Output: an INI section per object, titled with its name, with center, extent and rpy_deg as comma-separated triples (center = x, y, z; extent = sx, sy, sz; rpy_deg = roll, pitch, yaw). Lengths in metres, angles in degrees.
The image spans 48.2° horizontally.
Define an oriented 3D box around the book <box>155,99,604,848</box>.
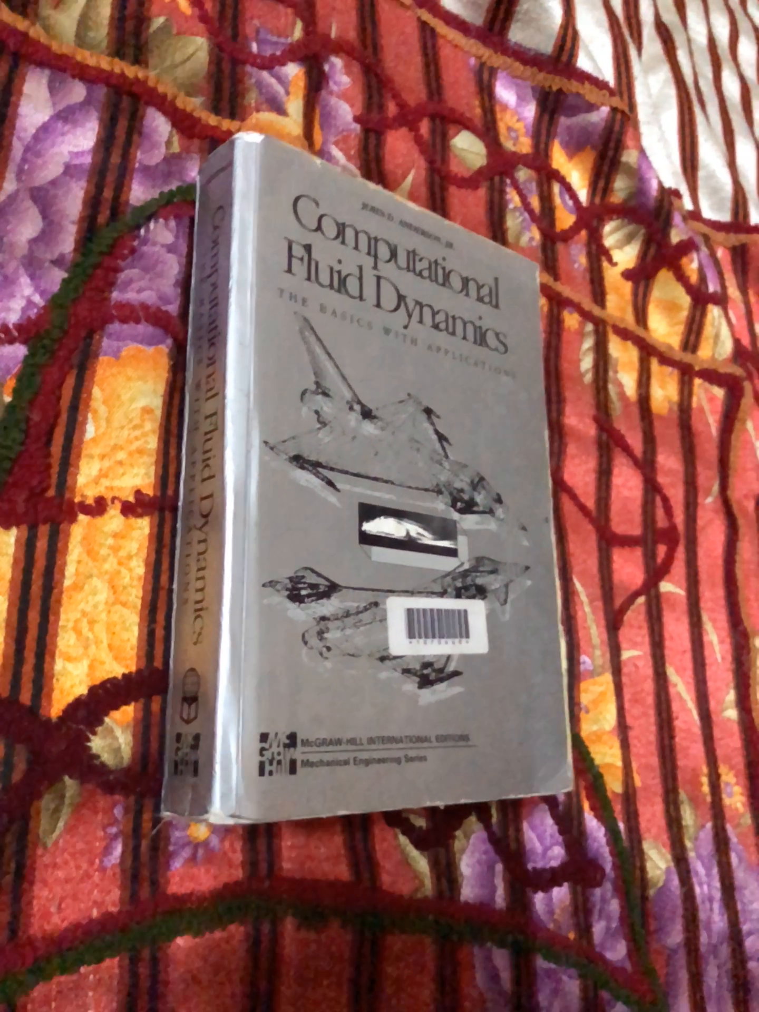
[book]
center = 0.007, -0.006, 0.315
extent = 0.159, 0.046, 0.229
rpy_deg = 9, 74, -37
